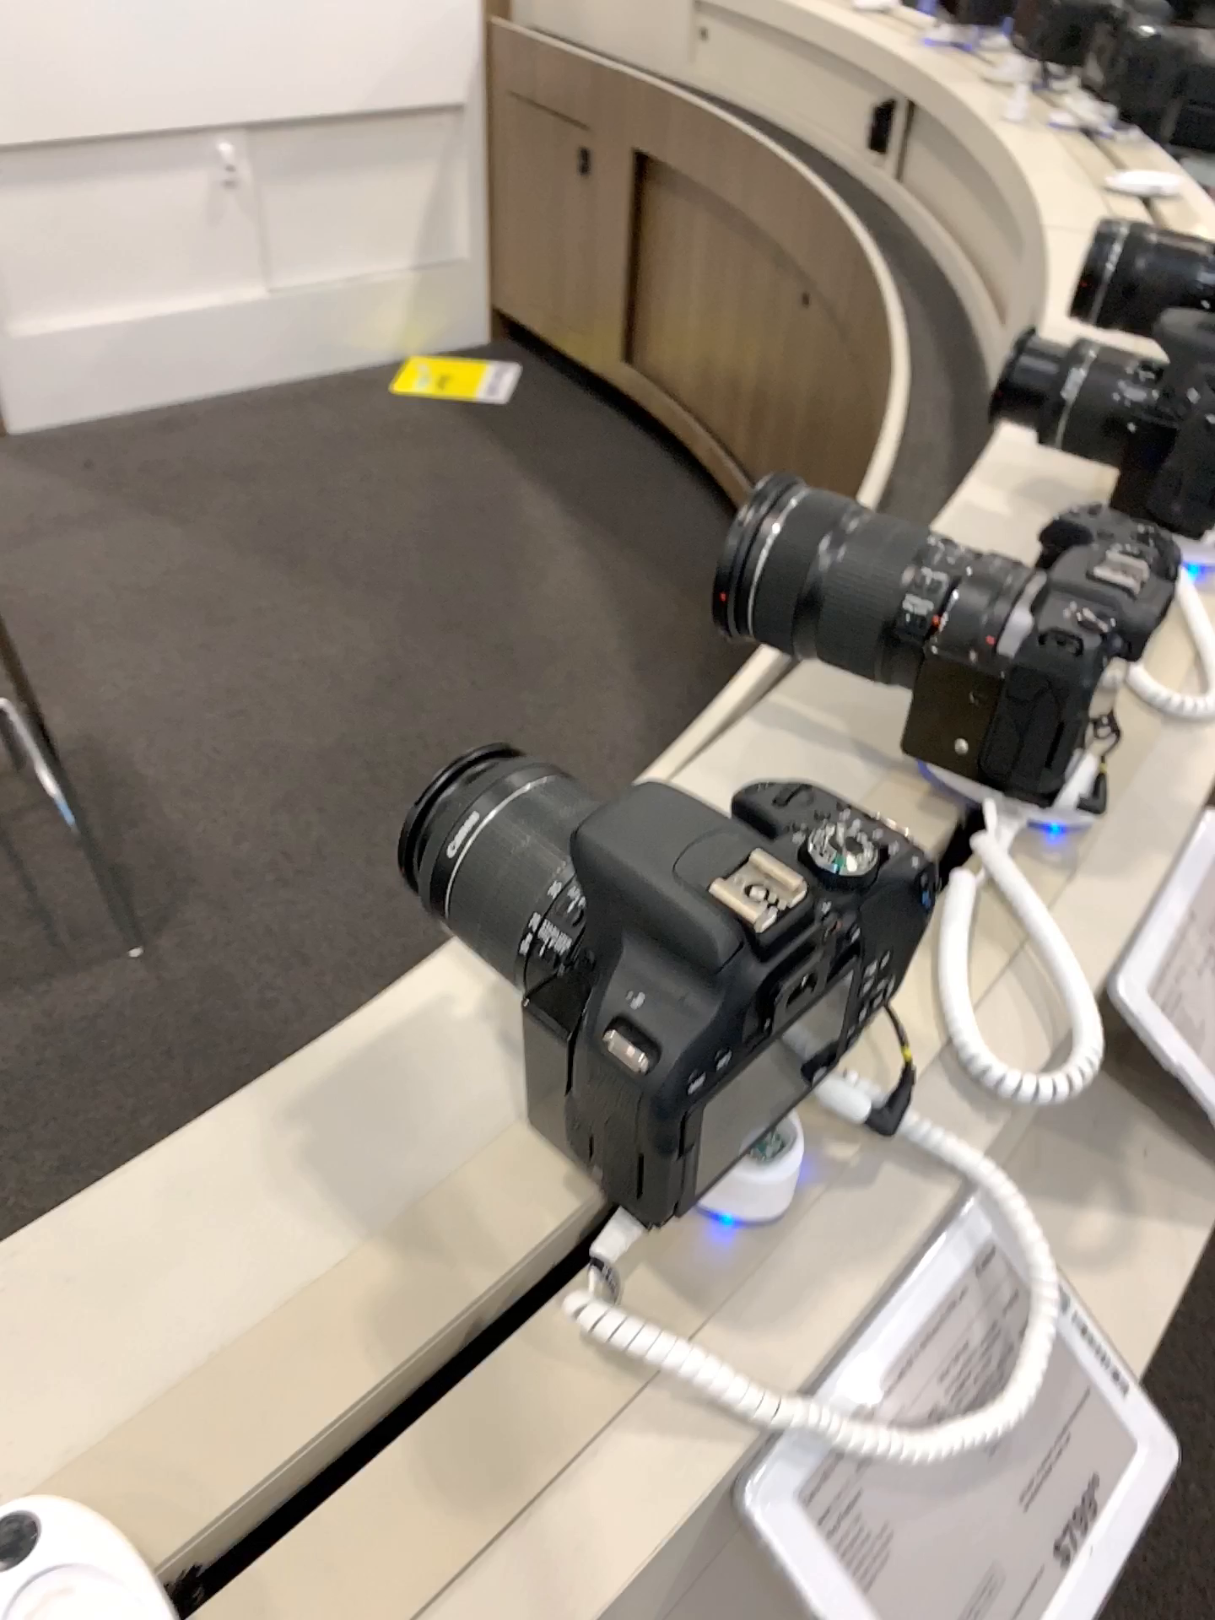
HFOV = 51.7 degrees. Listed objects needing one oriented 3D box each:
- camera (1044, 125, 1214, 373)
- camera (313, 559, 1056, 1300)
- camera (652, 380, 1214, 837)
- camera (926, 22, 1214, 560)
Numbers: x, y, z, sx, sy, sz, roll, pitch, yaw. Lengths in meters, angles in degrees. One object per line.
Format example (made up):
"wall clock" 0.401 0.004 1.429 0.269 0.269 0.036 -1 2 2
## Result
"camera" 0.435 -0.406 0.897 0.190 0.099 0.141 20 44 18
"camera" 0.021 0.027 0.421 0.171 0.119 0.150 33 49 29
"camera" 0.146 -0.102 0.579 0.200 0.099 0.141 24 45 22
"camera" 0.310 -0.295 0.707 0.170 0.219 0.151 24 45 22
